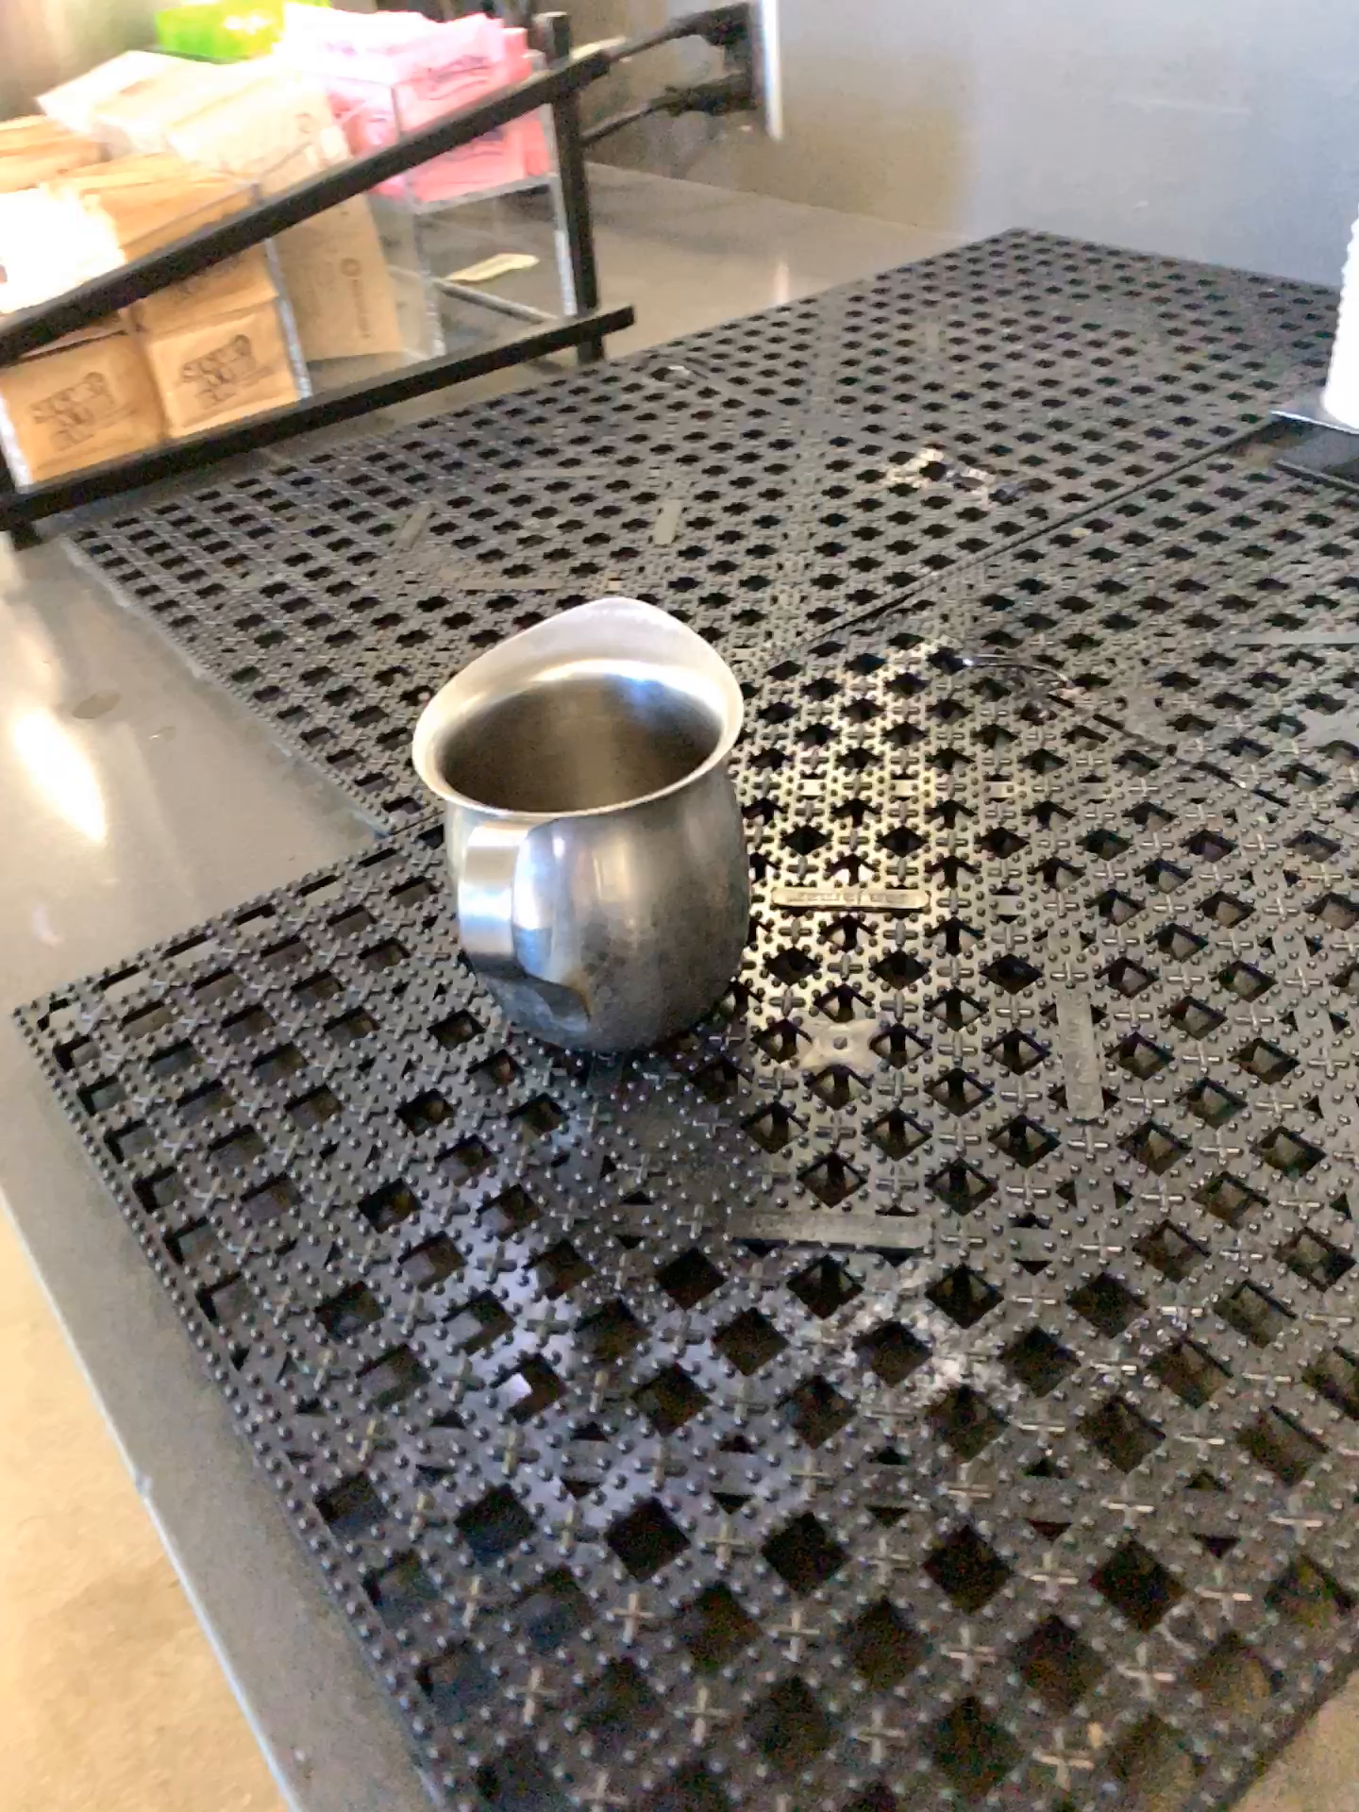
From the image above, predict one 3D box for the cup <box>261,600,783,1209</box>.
[{"bbox_3d":[-0.023,-0.006,0.296,0.070,0.070,0.111,4,39,13],"label":"cup"}]
